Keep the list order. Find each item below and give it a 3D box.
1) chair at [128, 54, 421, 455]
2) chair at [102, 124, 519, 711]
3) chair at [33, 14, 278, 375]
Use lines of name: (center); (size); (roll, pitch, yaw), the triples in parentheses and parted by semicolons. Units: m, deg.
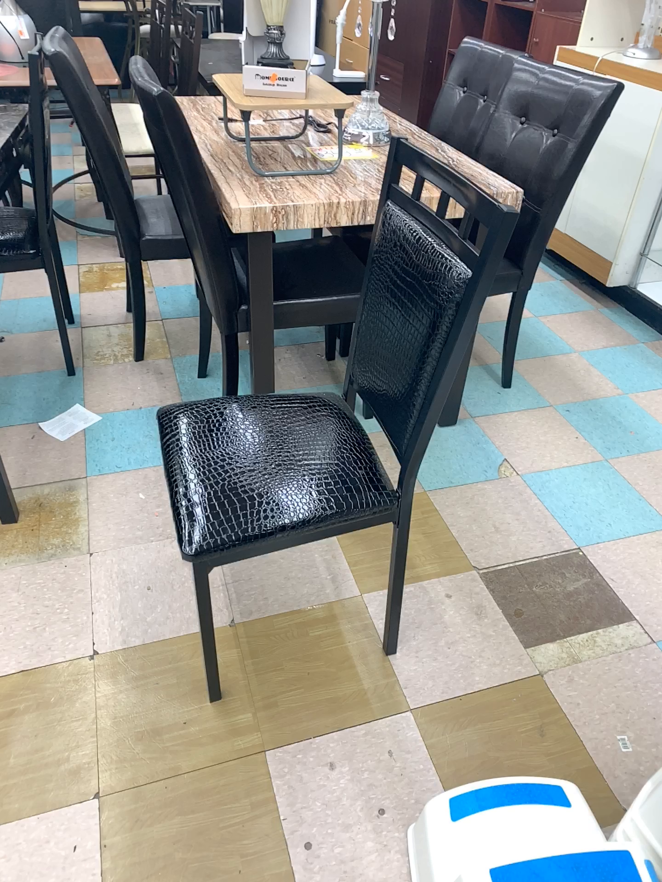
chair: (-0.178, -0.534, 1.917); (0.594, 0.923, 0.534); (-11, 39, -17)
chair: (-0.081, -0.024, 1.258); (0.504, 0.943, 0.464); (-9, 38, -14)
chair: (-0.603, -0.895, 2.446); (0.675, 1.072, 0.564); (-11, 39, -17)
